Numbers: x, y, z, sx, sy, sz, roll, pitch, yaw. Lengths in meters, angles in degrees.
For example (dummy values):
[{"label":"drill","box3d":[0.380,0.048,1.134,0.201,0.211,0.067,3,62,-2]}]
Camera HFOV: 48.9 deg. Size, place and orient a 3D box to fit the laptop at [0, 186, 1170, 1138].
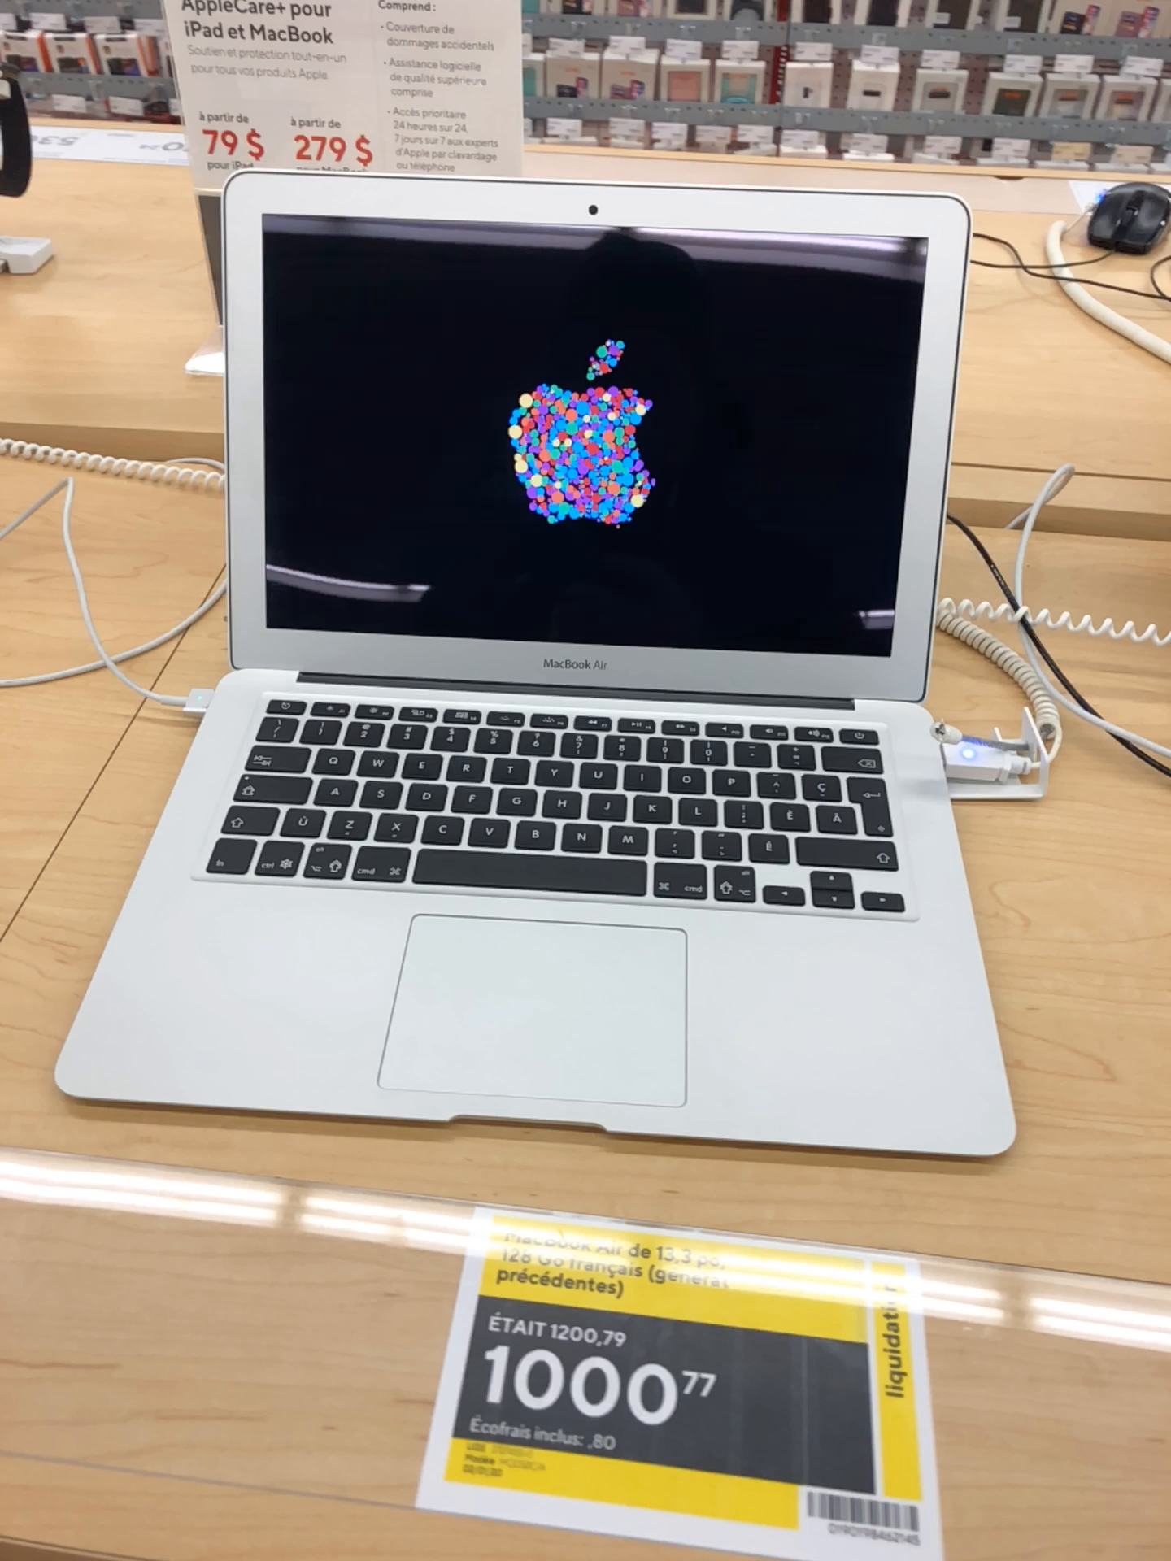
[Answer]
[{"label":"laptop","box3d":[-0.009,-0.066,0.474,0.305,0.186,0.326,3,41,0]}]
